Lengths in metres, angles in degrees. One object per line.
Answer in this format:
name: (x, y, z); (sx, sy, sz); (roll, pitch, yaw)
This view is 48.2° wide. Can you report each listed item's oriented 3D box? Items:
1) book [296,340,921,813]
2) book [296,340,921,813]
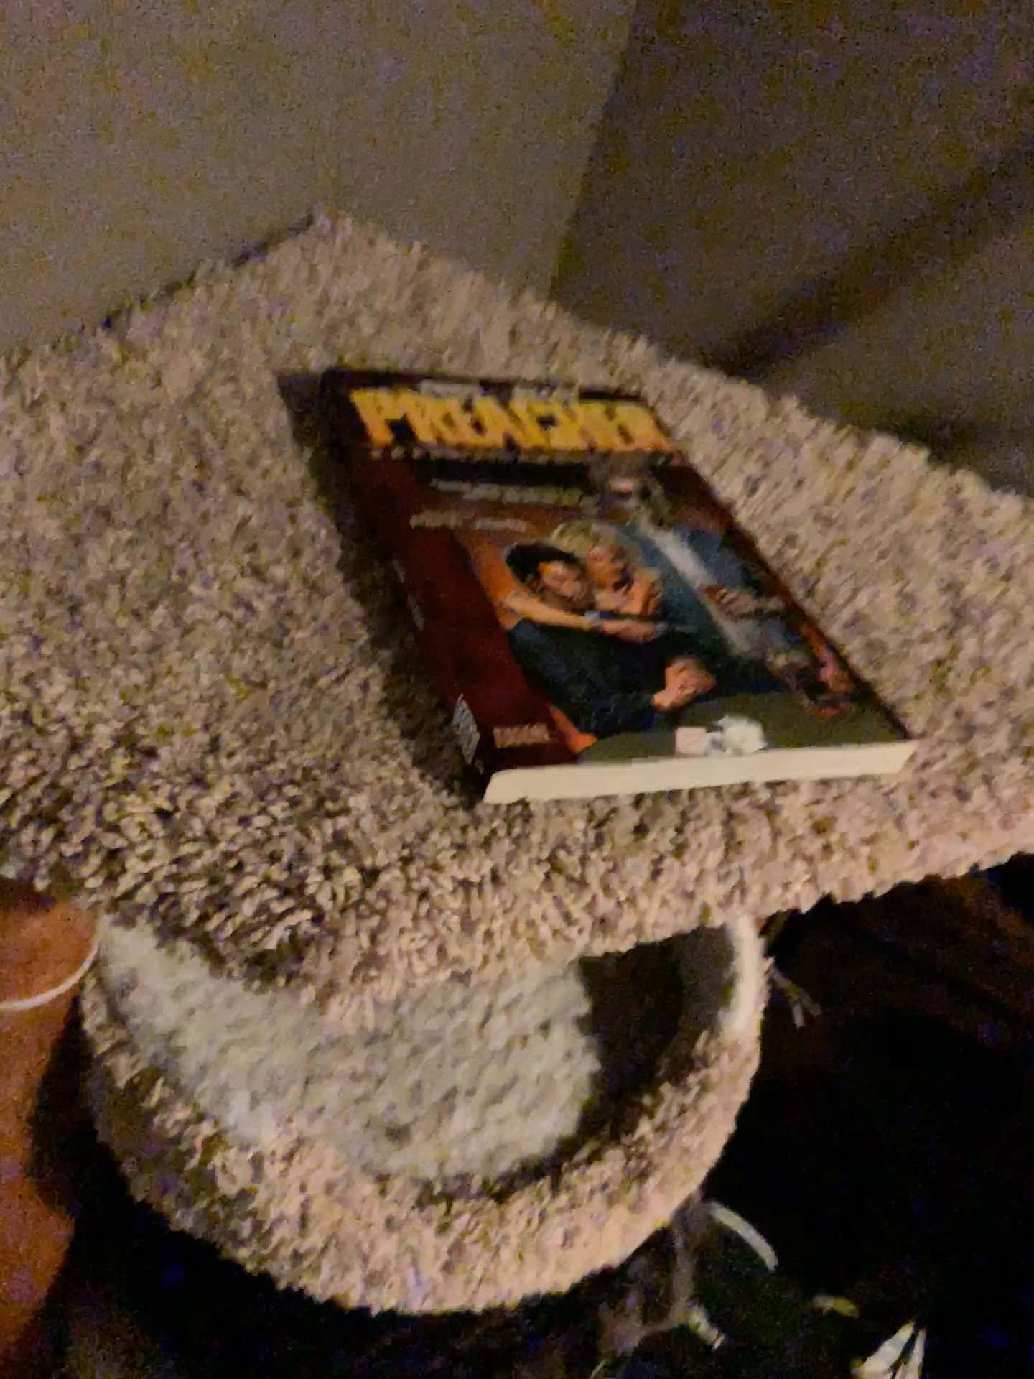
book: (0.022, -0.063, 0.480); (0.170, 0.020, 0.270); (-2, 44, -25)
book: (0.022, -0.063, 0.480); (0.170, 0.020, 0.270); (-2, 44, -25)
